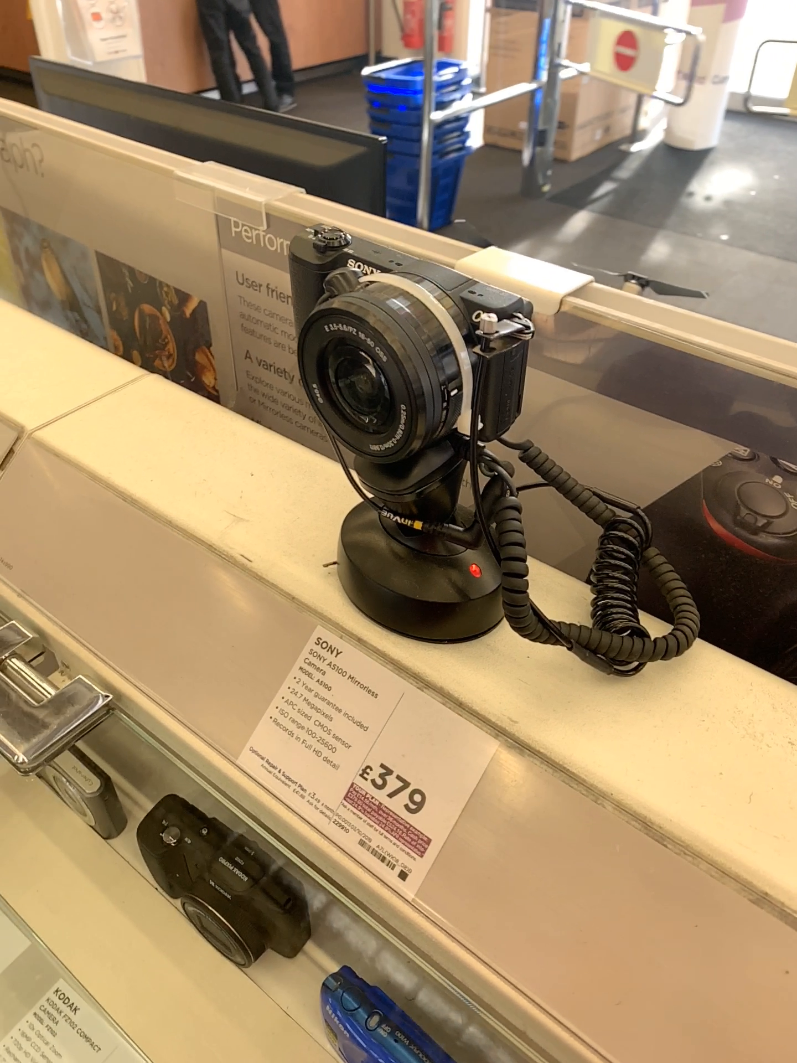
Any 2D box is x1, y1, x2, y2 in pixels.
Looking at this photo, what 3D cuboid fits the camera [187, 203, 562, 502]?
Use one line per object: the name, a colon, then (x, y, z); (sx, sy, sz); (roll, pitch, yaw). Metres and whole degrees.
camera: (-0.011, -0.078, 0.330); (0.121, 0.059, 0.080); (30, 47, 30)
